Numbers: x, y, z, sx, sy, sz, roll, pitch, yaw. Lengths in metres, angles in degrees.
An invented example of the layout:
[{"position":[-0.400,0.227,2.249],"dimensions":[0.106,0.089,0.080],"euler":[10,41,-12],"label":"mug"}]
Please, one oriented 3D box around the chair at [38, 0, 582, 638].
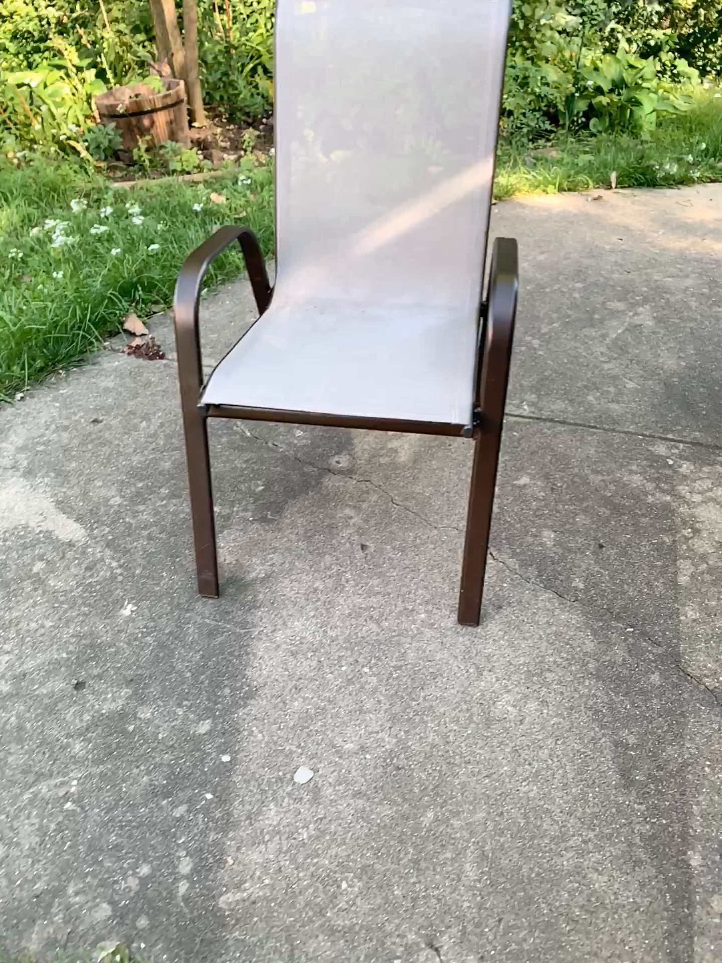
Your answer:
[{"position":[-0.002,-0.321,1.307],"dimensions":[0.570,0.845,0.745],"euler":[6,41,7],"label":"chair"}]
